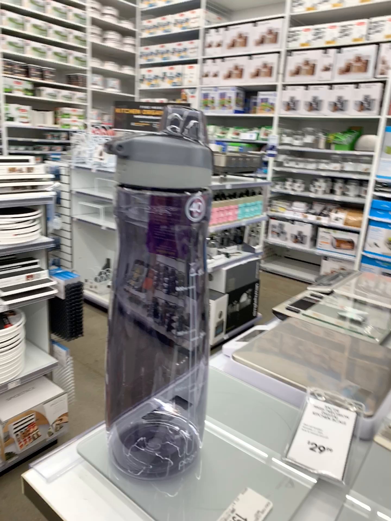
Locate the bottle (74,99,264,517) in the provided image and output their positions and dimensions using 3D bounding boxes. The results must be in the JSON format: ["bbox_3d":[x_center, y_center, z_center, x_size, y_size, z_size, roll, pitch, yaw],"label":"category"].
[{"bbox_3d":[-0.029,0.034,0.341,0.100,0.309,0.100,3,16,-1],"label":"bottle"}]
